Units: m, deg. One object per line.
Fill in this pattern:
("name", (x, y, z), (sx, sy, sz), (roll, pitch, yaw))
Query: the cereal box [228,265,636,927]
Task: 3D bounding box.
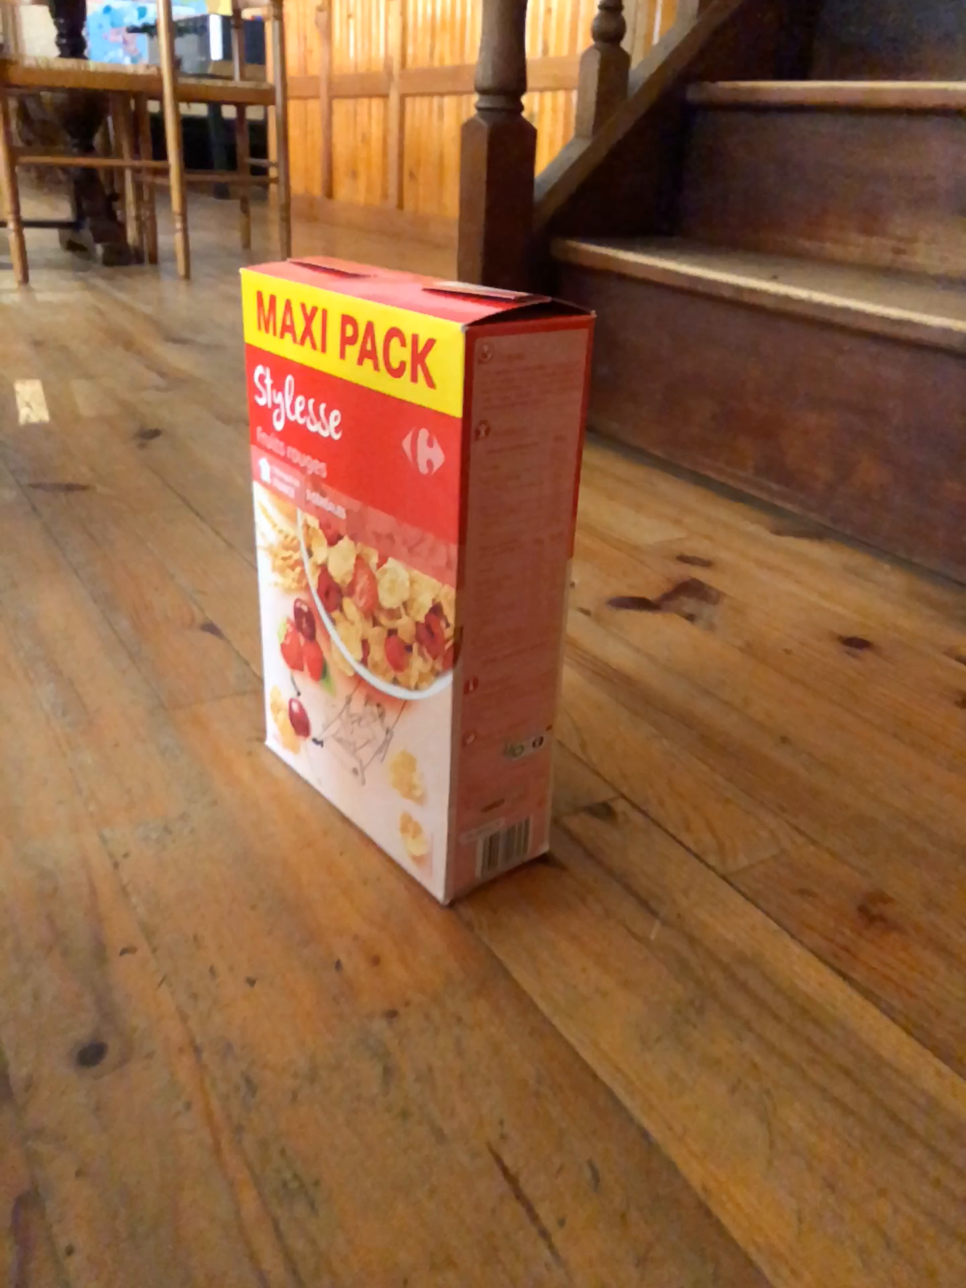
("cereal box", (-0.041, -0.038, 0.568), (0.090, 0.288, 0.210), (-16, 31, -36))
